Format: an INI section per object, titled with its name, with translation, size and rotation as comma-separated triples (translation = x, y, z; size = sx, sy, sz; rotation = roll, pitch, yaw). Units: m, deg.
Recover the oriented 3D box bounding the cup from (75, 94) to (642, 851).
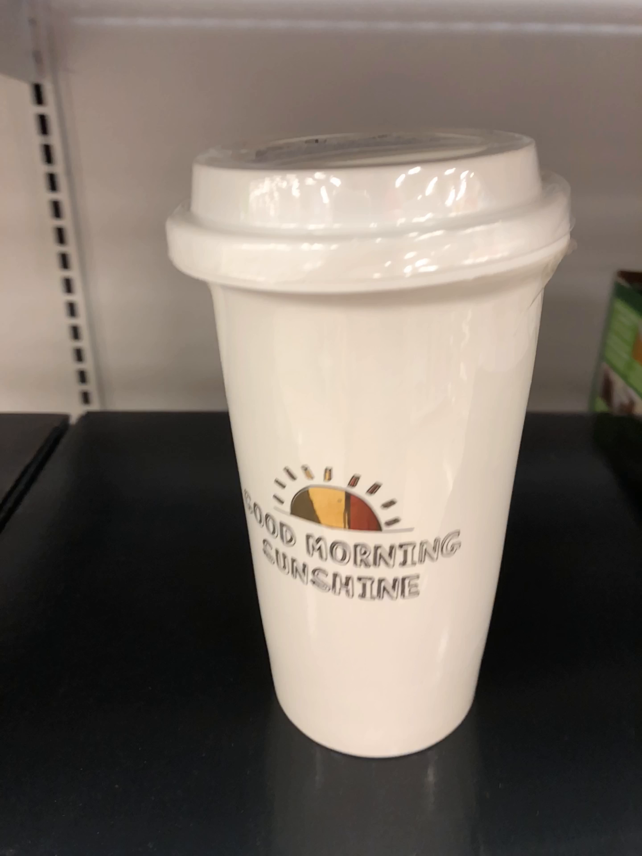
[cup]
translation = 0.018, -0.002, 0.194
size = 0.100, 0.149, 0.100
rotation = 0, 29, 0
